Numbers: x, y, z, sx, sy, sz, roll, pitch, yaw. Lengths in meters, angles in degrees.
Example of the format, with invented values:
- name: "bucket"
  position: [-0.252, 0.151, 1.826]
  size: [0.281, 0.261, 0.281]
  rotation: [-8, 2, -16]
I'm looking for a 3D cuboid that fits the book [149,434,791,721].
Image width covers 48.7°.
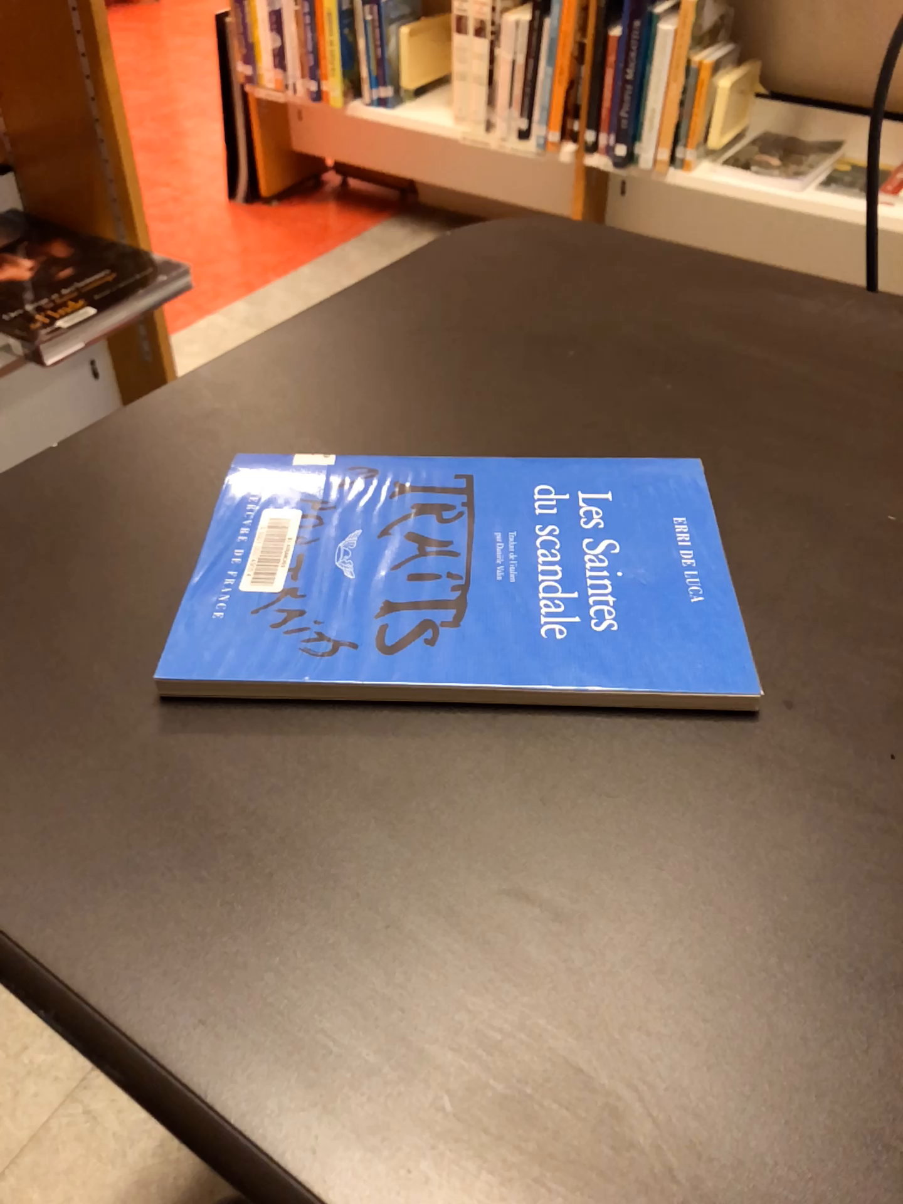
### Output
- name: "book"
  position: [0.008, -0.017, 0.393]
  size: [0.215, 0.017, 0.145]
  rotation: [2, 41, 1]
